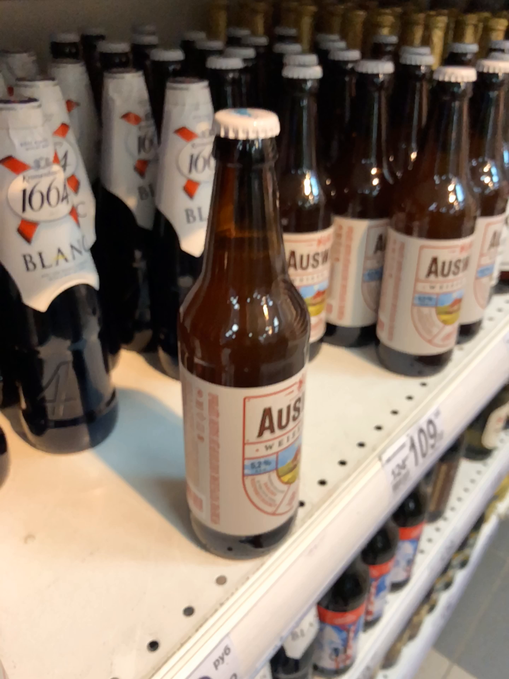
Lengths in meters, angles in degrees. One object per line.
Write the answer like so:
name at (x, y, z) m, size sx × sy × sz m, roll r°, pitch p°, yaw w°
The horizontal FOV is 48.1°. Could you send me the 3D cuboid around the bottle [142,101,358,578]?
bottle at (0.000, 0.009, 0.294) m, size 0.070 × 0.229 × 0.080 m, roll 10°, pitch 33°, yaw 12°
